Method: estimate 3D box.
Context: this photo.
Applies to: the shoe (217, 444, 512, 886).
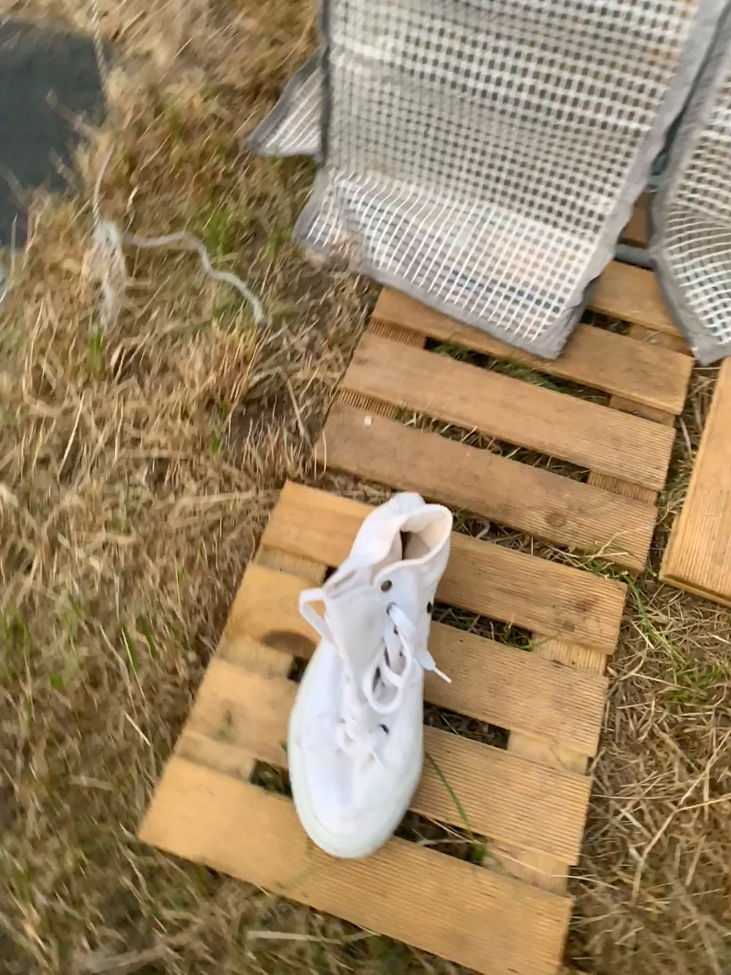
[{"bbox_3d":[0.009,0.122,0.527,0.100,0.129,0.262,19,61,9],"label":"shoe"}]
